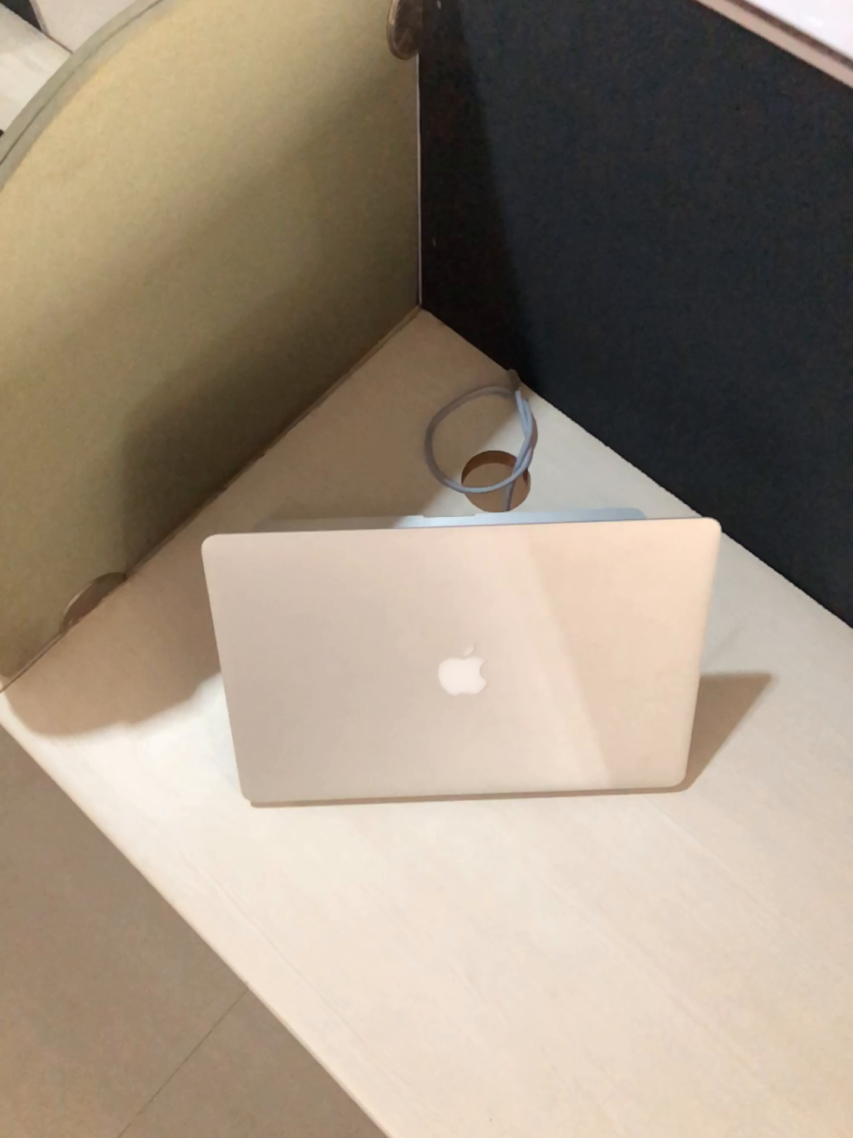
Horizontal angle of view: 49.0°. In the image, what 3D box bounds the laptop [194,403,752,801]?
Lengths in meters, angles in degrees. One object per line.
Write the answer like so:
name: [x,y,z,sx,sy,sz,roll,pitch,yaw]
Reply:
laptop: [0.025,0.034,0.710,0.343,0.198,0.235,-2,68,-1]
